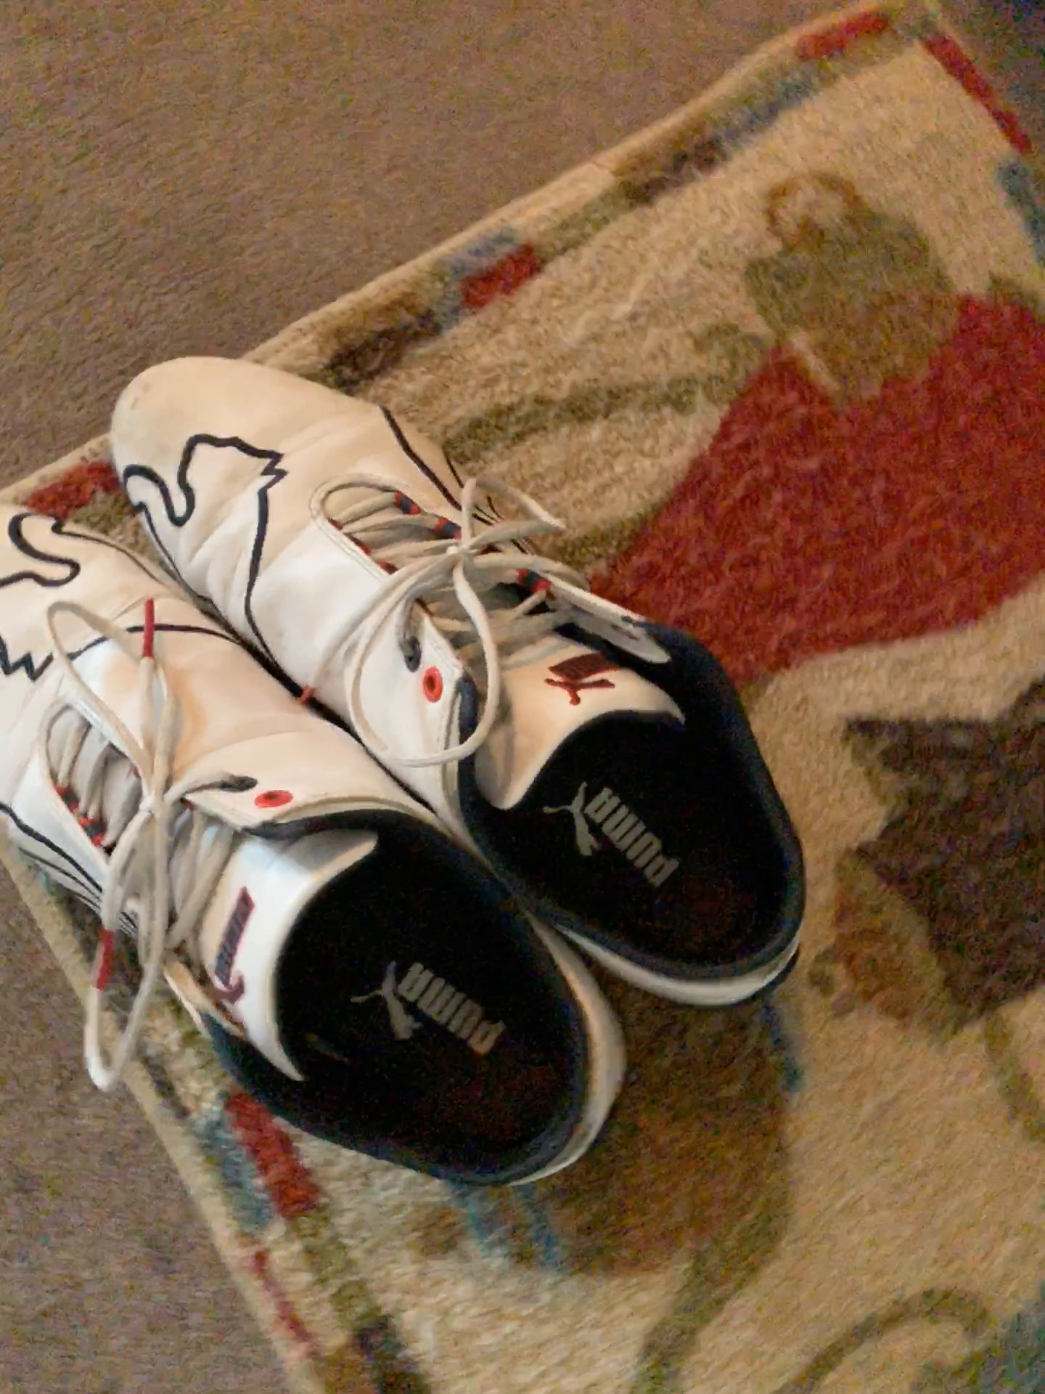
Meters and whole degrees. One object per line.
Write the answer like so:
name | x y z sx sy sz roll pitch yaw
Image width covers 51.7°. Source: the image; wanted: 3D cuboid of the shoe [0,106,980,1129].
shoe | -0.018 -0.021 0.342 0.100 0.107 0.290 -44 87 -9

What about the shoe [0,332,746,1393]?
shoe | -0.089 0.045 0.322 0.290 0.107 0.100 42 81 2
